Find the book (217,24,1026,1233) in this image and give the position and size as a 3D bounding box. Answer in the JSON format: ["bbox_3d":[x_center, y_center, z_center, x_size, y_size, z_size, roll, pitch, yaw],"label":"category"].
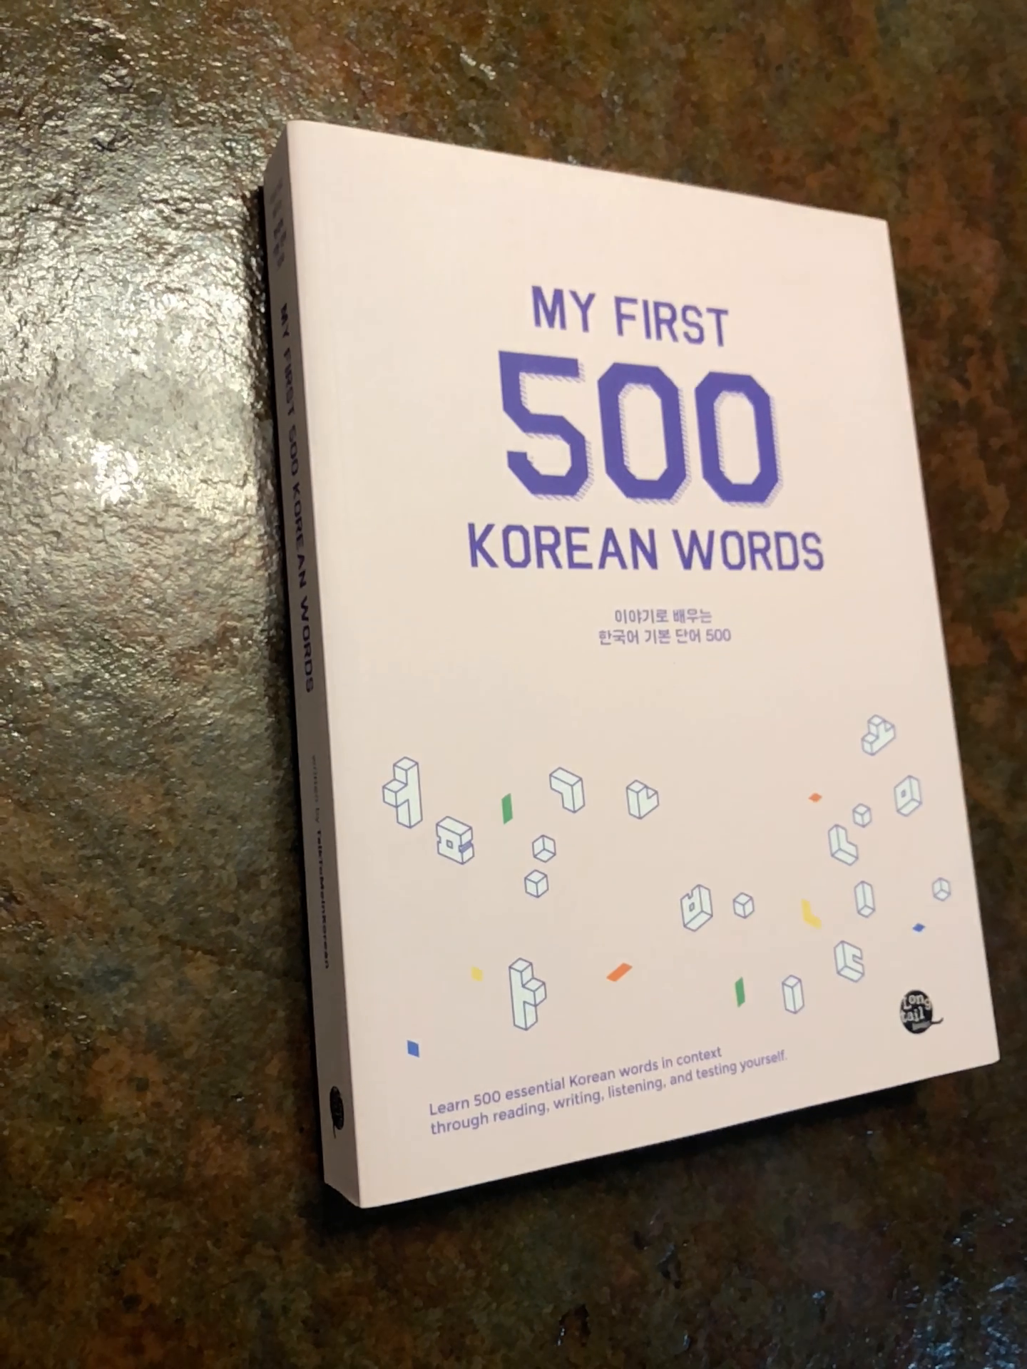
[{"bbox_3d":[0.037,-0.019,0.268,0.191,0.030,0.230,-2,82,-26],"label":"book"}]
